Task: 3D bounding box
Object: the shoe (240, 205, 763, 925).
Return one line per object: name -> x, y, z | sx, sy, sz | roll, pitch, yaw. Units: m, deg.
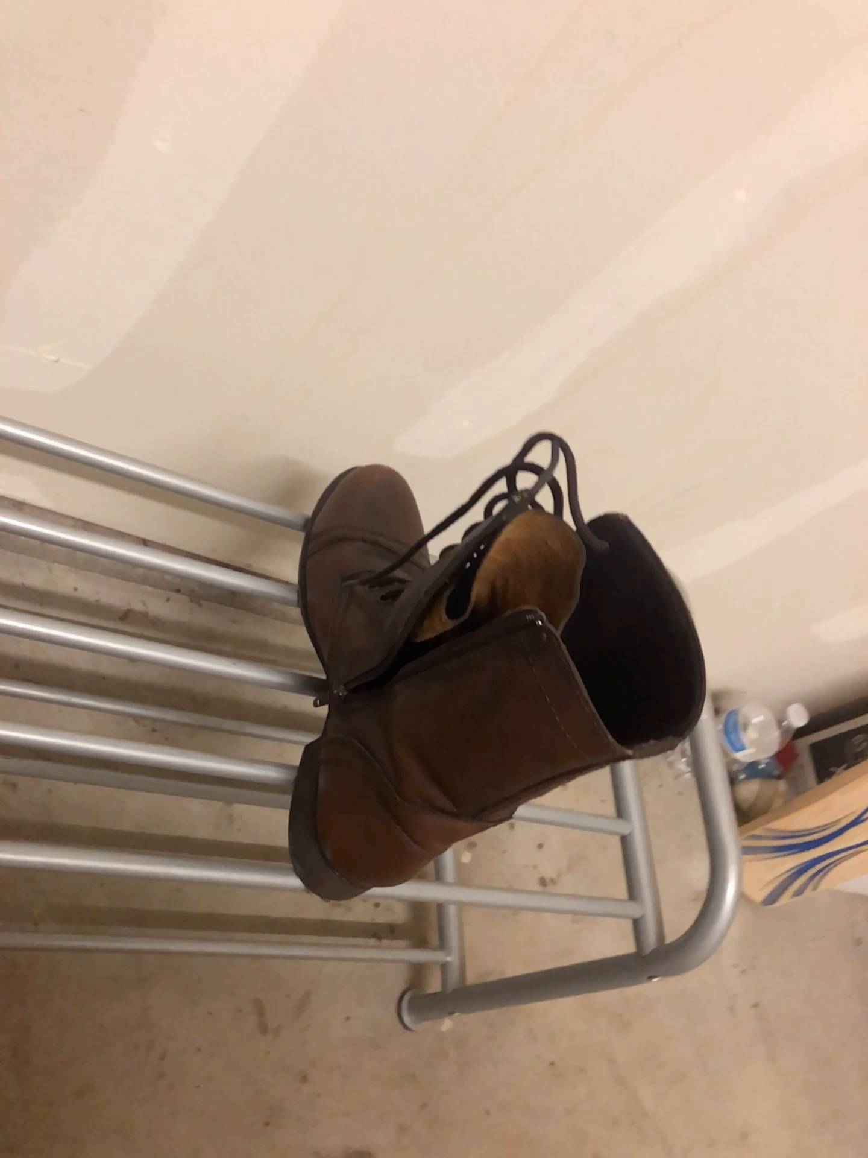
shoe -> 0.016, 0.008, 0.512 | 0.122, 0.238, 0.287 | 19, 54, -27
